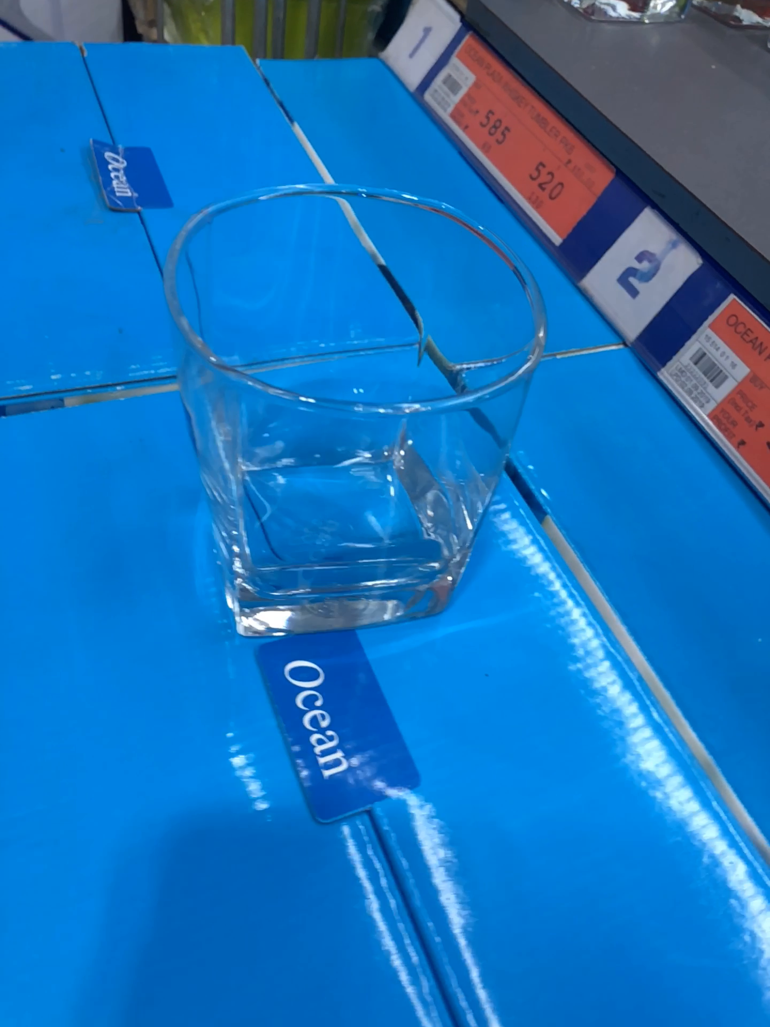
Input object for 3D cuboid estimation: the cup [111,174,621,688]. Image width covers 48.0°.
[{"bbox_3d":[-0.014,-0.024,0.217,0.090,0.080,0.090,5,47,-6],"label":"cup"}]
